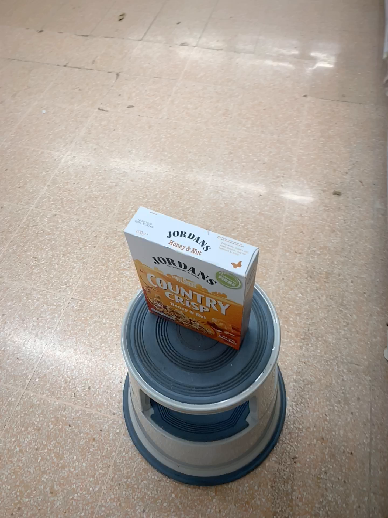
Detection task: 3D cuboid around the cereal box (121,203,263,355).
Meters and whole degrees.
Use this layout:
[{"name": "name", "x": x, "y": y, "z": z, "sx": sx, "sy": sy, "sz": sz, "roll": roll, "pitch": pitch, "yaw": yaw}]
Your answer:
[{"name": "cereal box", "x": -0.001, "y": 0.045, "z": 0.621, "sx": 0.180, "sy": 0.258, "sz": 0.050, "roll": 21, "pitch": 59, "yaw": 16}]
